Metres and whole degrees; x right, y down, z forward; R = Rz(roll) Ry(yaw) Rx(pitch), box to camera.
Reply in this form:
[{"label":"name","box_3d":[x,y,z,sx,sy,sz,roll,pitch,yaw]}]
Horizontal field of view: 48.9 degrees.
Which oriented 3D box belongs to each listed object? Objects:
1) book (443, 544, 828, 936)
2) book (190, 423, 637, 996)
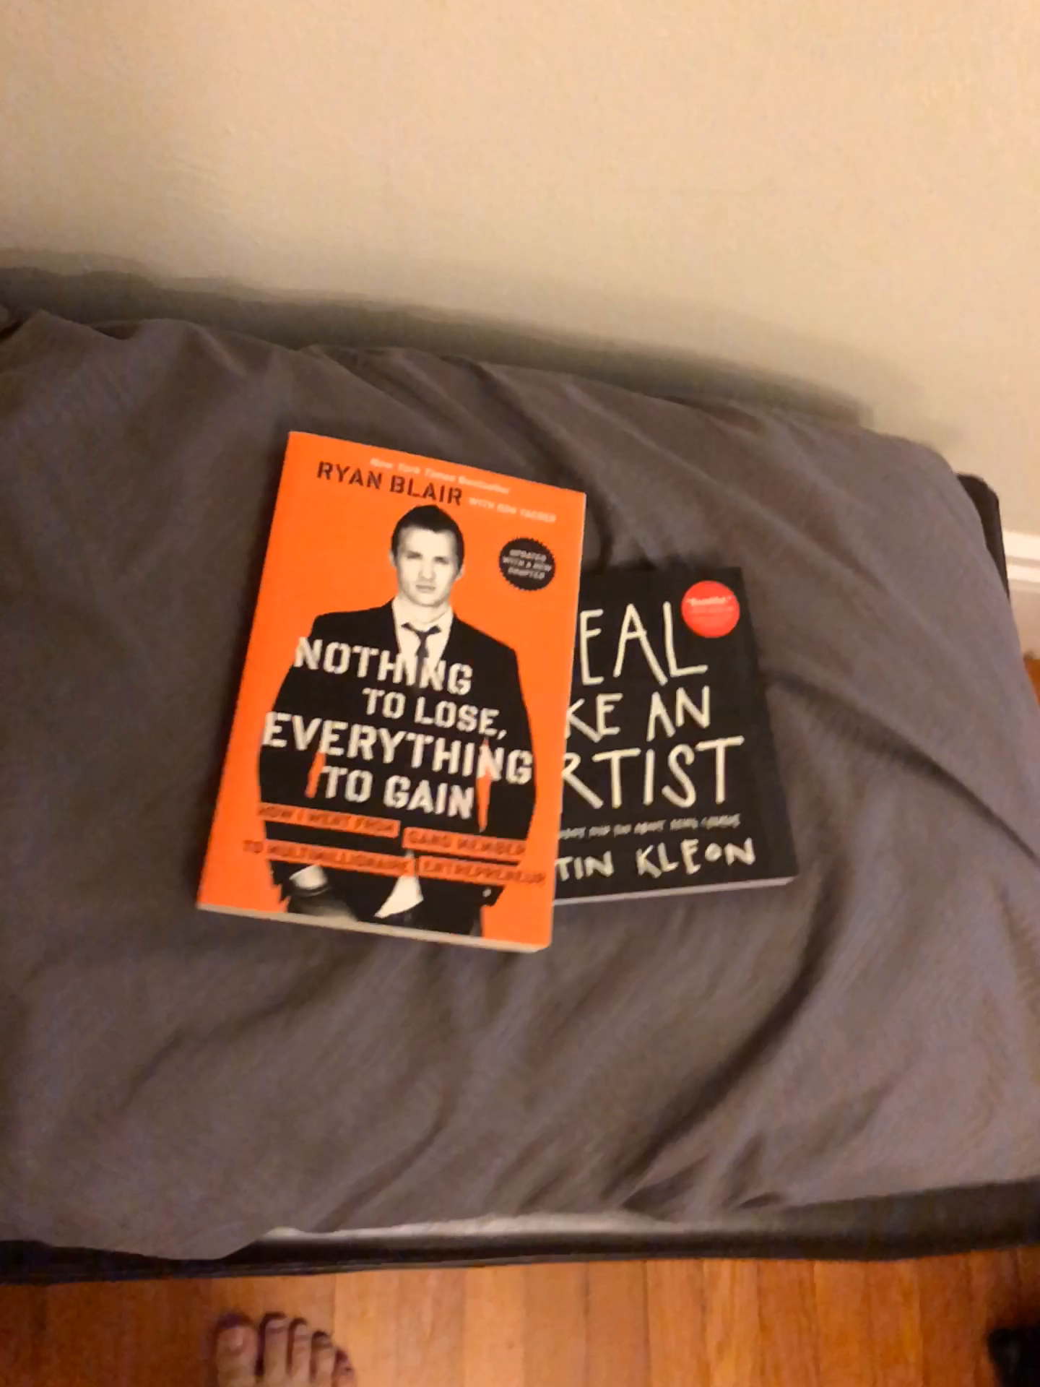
[{"label":"book","box_3d":[0.051,0.015,0.524,0.150,0.020,0.170,-4,72,-17]},{"label":"book","box_3d":[-0.037,0.005,0.500,0.170,0.020,0.230,9,70,-14]}]
